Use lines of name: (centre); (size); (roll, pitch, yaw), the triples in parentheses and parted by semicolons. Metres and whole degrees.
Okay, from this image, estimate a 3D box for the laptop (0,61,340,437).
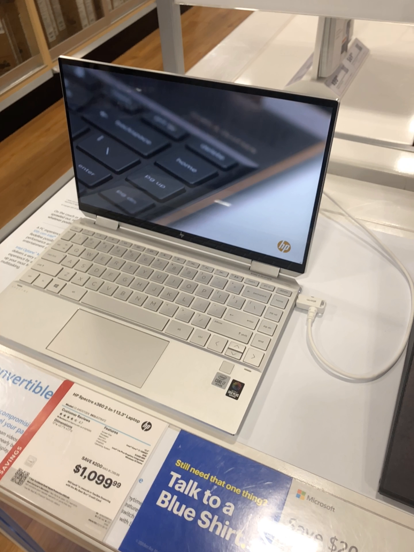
laptop: (-0.066, -0.049, 0.435); (0.303, 0.184, 0.228); (18, 50, 20)
